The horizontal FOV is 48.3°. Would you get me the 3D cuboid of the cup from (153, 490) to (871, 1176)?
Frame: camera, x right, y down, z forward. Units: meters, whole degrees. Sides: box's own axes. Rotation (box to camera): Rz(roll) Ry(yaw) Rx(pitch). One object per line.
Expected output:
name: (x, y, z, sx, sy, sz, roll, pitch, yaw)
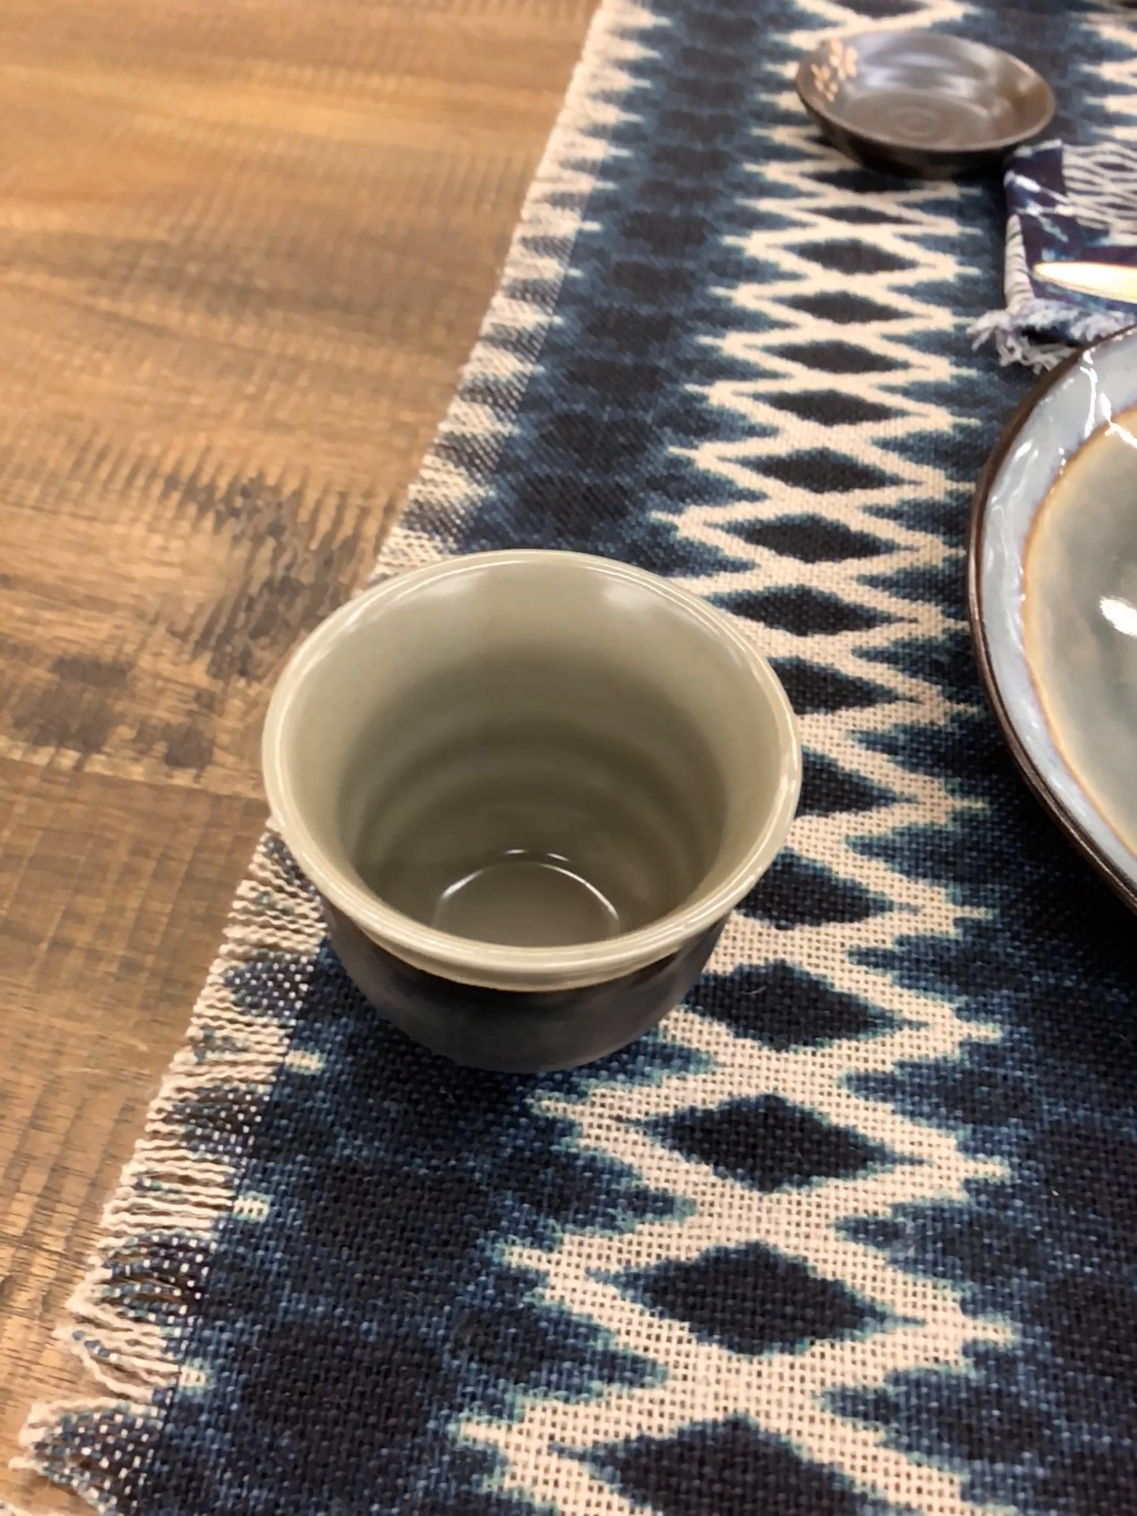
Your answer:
cup: (-0.004, 0.009, 0.202, 0.084, 0.048, 0.079, 1, 53, -1)
